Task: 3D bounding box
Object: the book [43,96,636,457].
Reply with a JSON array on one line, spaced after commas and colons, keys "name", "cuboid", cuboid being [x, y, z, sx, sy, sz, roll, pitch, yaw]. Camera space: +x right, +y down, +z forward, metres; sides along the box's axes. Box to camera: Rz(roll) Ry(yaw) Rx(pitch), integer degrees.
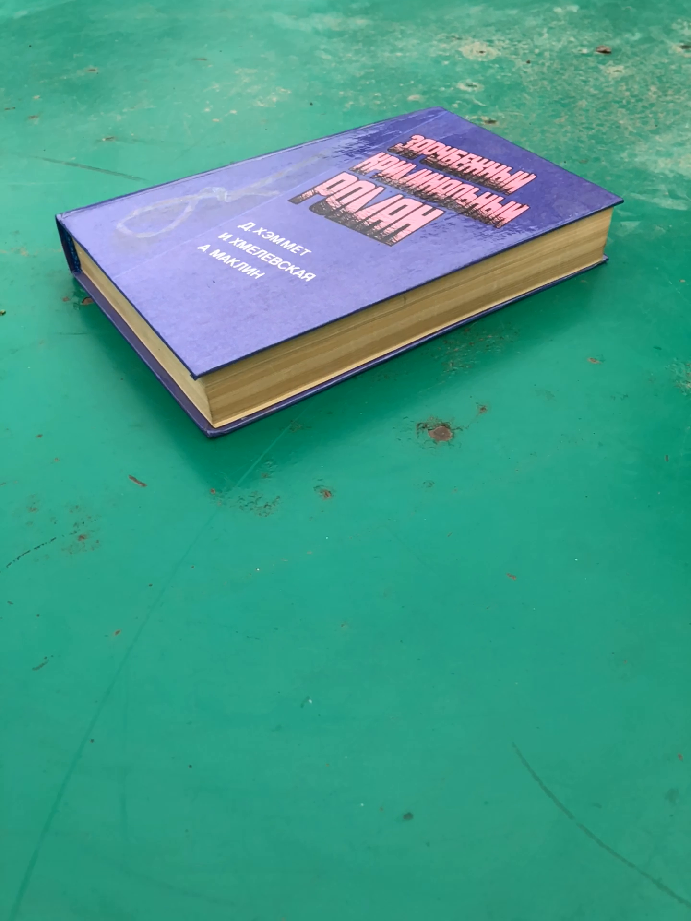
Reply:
[{"name": "book", "cuboid": [-0.002, -0.096, 0.333, 0.209, 0.030, 0.137, -27, 51, -22]}]
